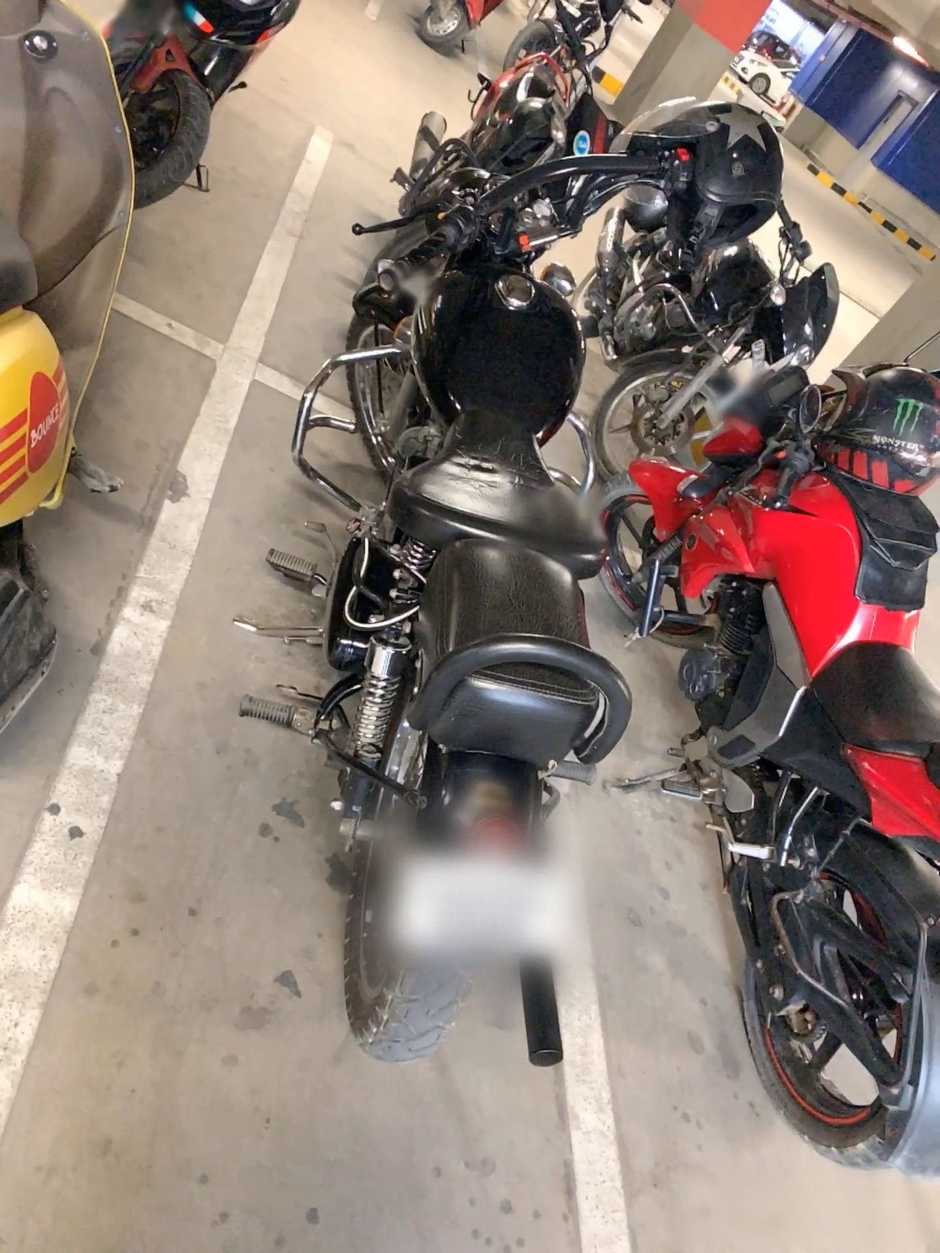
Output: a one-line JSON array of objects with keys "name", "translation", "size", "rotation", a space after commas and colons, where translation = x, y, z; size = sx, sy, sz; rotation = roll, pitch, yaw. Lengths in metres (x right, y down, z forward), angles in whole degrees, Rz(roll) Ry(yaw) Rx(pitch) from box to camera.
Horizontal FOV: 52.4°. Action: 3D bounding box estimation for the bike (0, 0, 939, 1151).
[{"name": "bike", "translation": [-0.201, -0.394, 1.810], "size": [0.800, 1.303, 2.029], "rotation": [19, 38, -26]}]
